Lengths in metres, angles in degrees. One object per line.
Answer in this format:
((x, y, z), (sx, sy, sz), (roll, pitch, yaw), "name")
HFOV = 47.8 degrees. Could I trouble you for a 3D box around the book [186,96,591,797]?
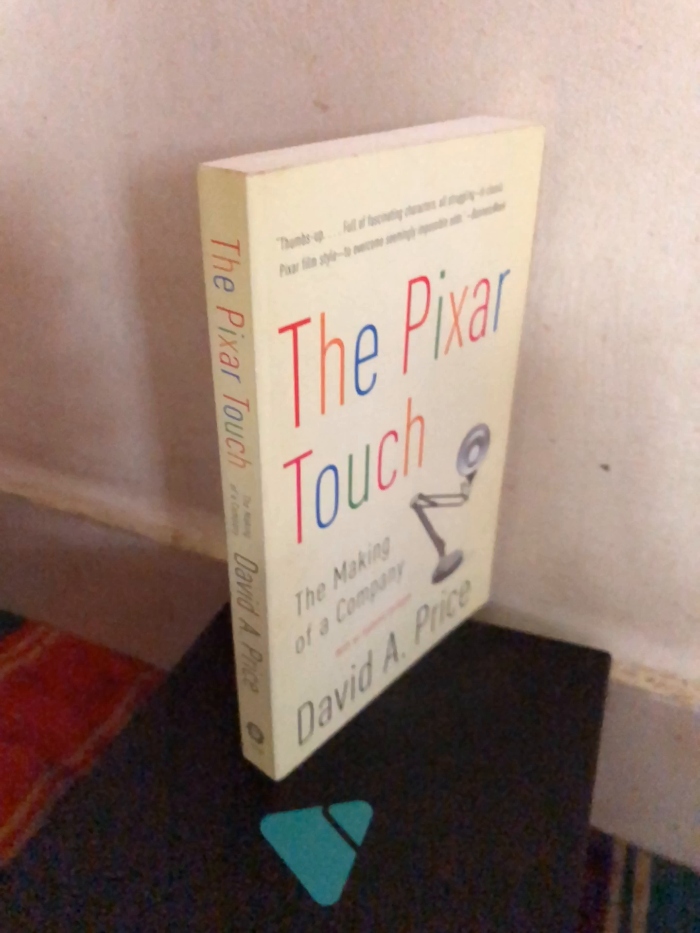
((0.018, -0.010, 0.264), (0.030, 0.199, 0.140), (24, 36, 34), "book")
